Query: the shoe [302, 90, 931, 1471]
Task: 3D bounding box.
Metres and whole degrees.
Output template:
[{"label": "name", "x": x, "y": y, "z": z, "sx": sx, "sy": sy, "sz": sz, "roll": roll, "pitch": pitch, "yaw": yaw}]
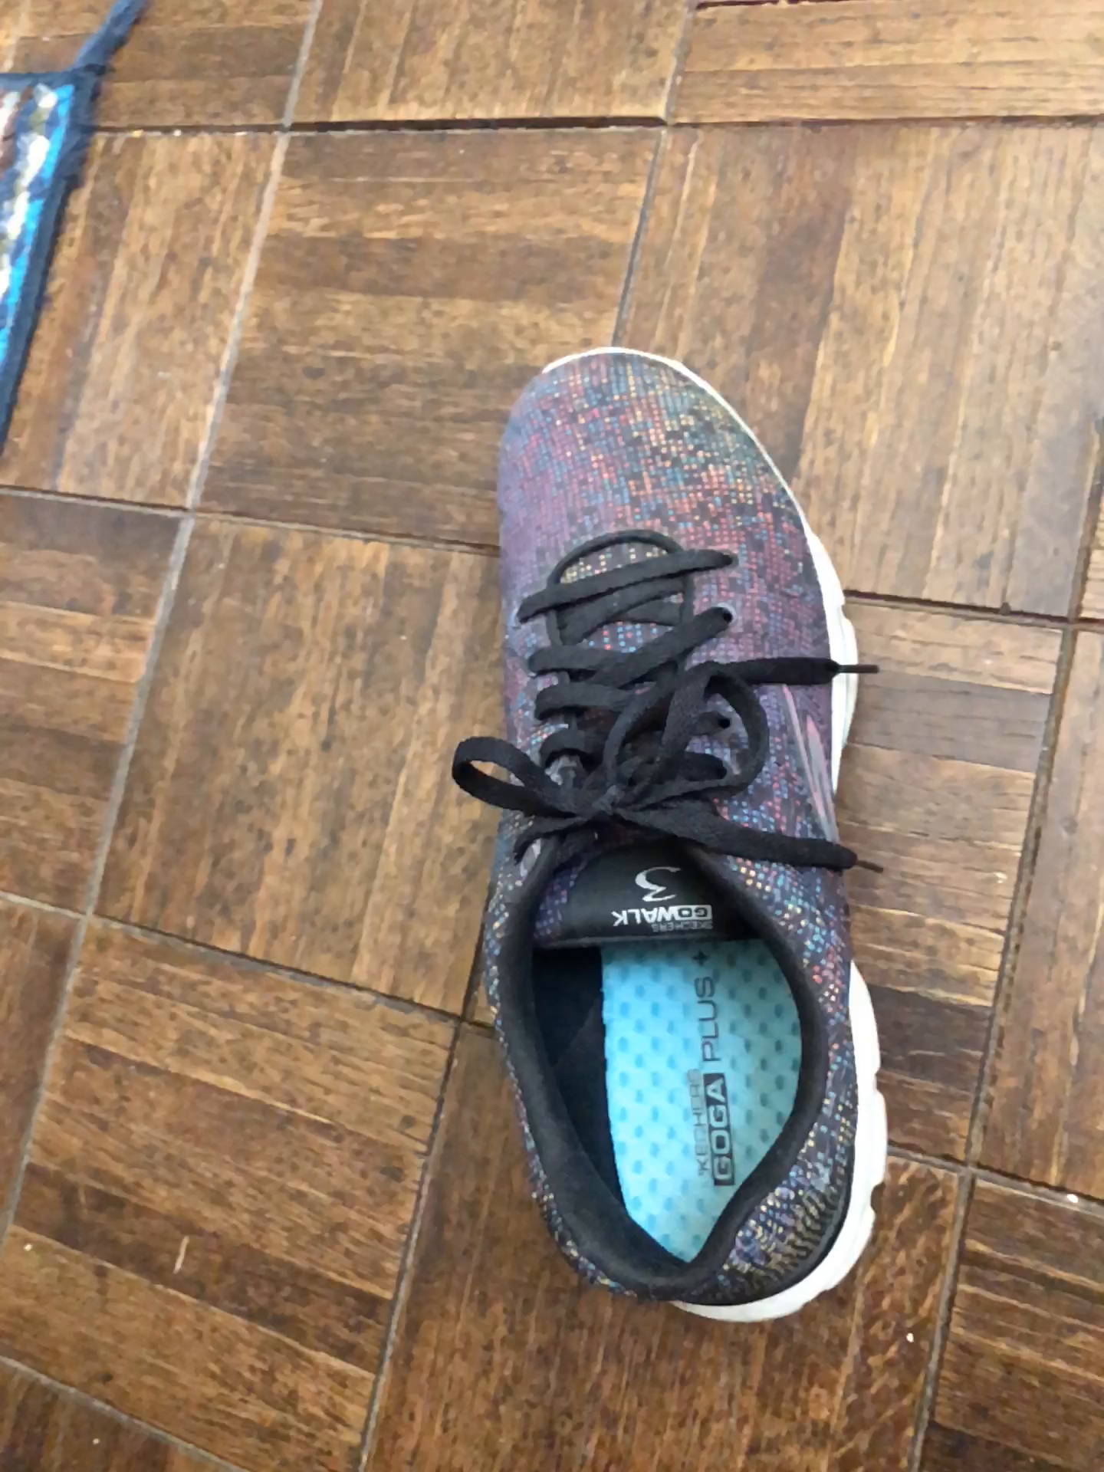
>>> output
[{"label": "shoe", "x": 0.019, "y": 0.012, "z": 0.324, "sx": 0.110, "sy": 0.120, "sz": 0.290, "roll": -9, "pitch": 78, "yaw": 19}]
